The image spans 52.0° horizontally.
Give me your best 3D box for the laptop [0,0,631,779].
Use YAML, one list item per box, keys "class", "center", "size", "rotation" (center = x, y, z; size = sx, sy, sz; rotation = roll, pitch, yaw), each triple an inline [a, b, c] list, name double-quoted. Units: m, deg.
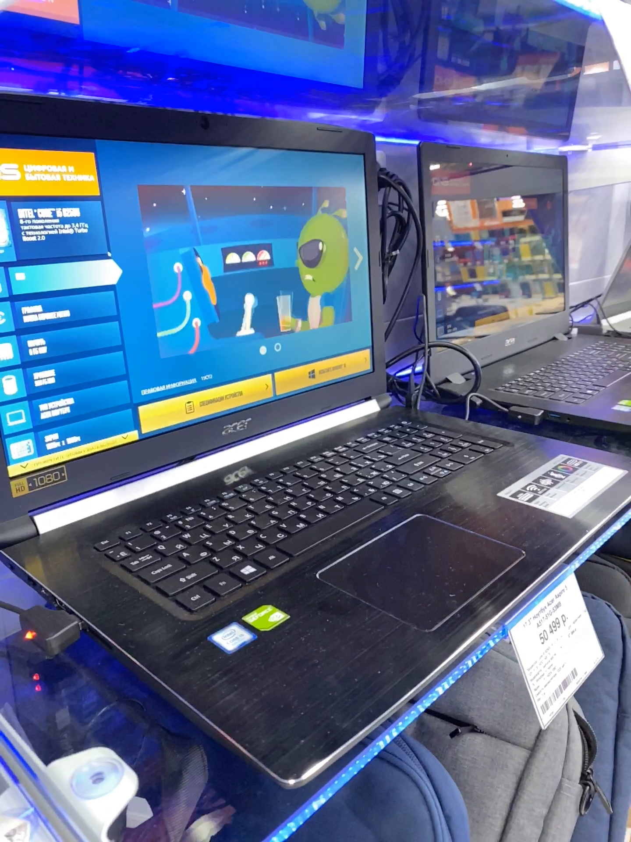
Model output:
- class: "laptop"
  center: [0.025, -0.078, 0.448]
  size: [0.311, 0.278, 0.424]
  rotation: [15, 23, 42]
